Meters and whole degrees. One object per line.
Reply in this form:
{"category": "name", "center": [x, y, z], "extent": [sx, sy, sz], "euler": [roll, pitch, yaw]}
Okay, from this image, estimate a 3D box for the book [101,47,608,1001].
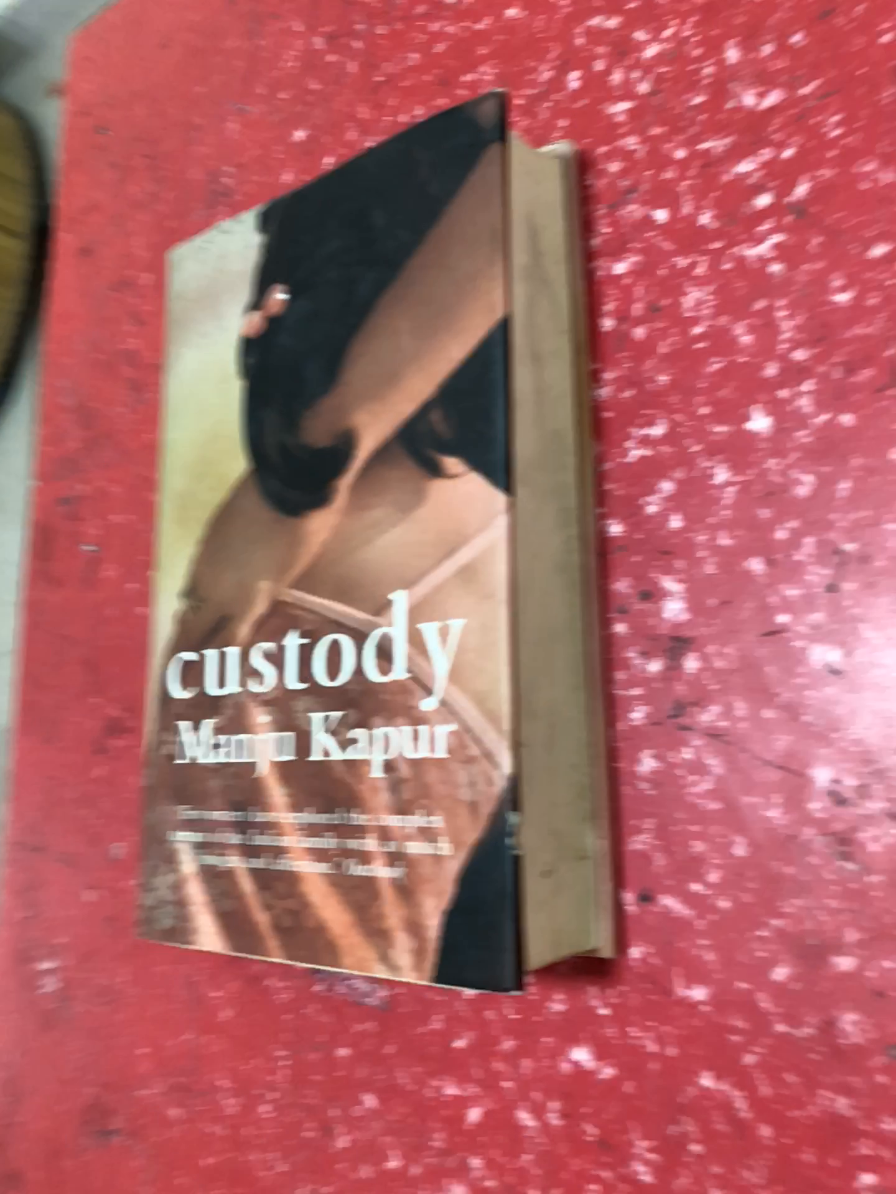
{"category": "book", "center": [-0.032, -0.014, 0.280], "extent": [0.141, 0.040, 0.220], "euler": [-9, 75, 37]}
